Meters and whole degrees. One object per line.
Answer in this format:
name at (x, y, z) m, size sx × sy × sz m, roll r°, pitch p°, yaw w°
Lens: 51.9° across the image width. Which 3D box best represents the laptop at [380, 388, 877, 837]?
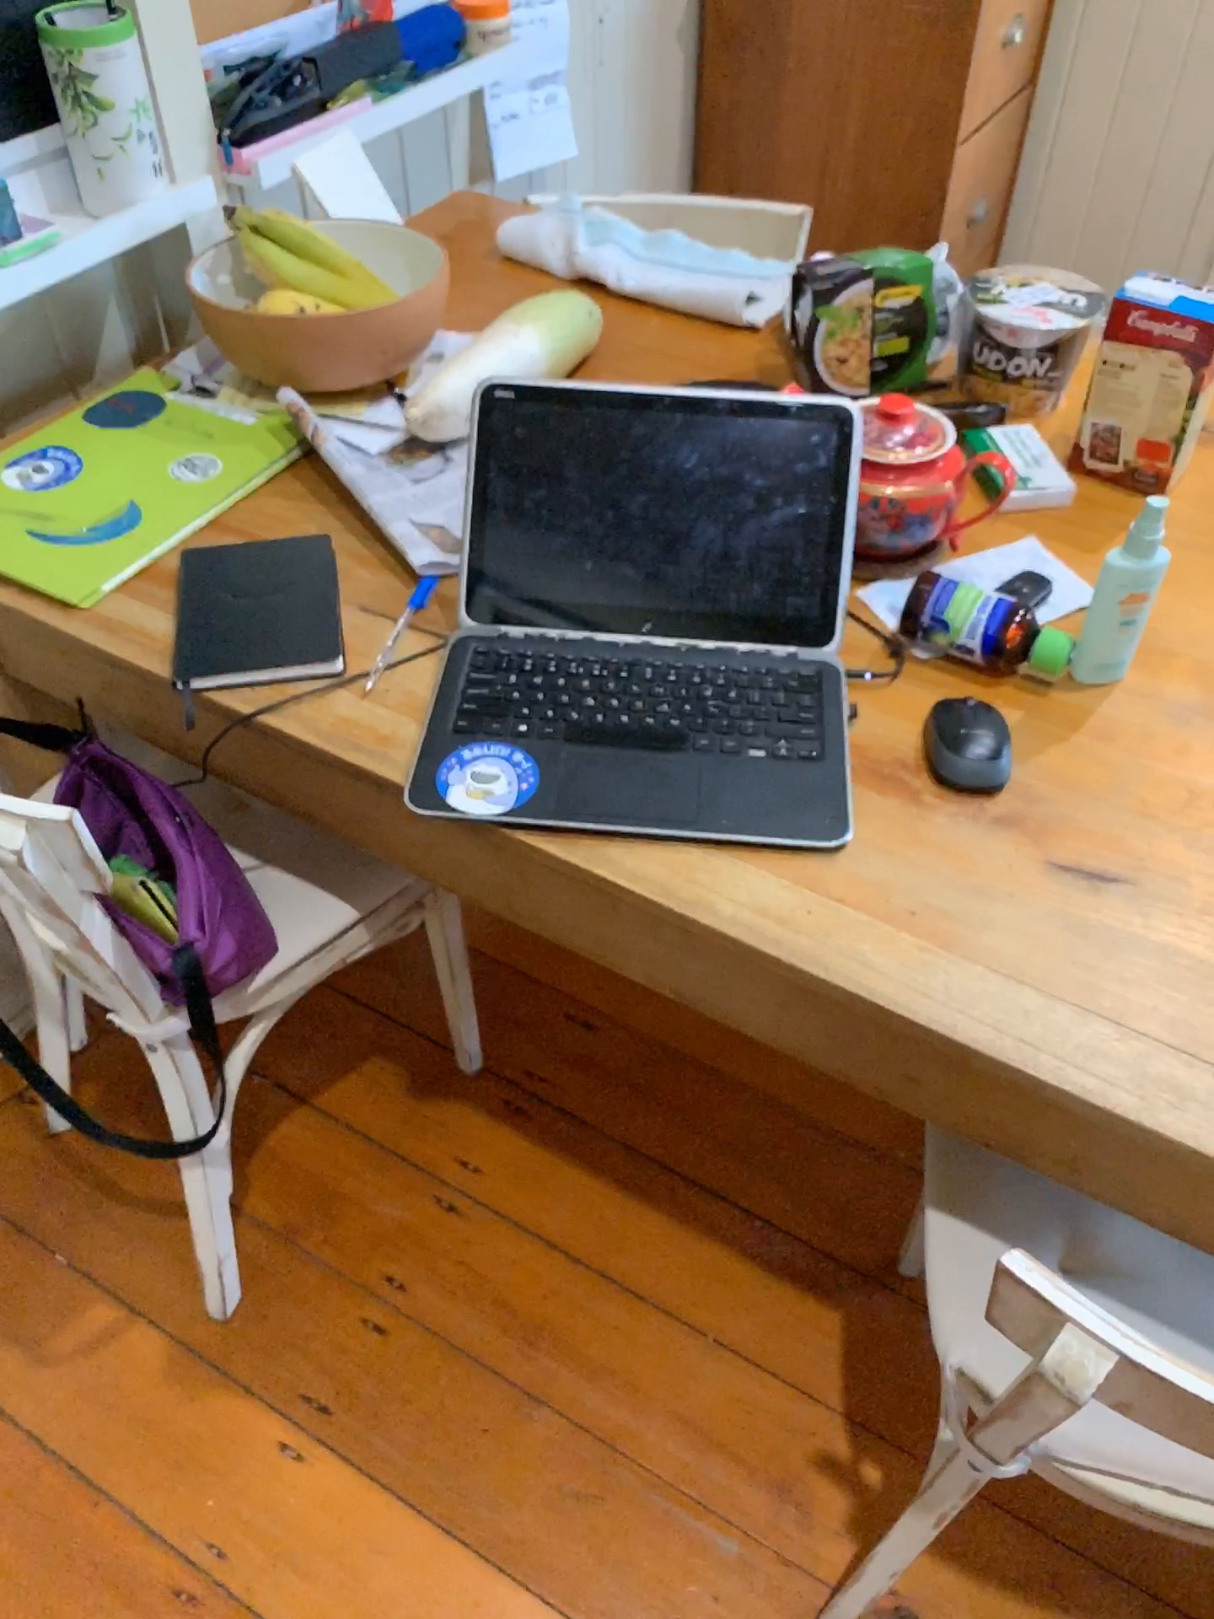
laptop at (0.030, -0.160, 0.926) m, size 0.303 × 0.139 × 0.341 m, roll 4°, pitch 46°, yaw 3°
